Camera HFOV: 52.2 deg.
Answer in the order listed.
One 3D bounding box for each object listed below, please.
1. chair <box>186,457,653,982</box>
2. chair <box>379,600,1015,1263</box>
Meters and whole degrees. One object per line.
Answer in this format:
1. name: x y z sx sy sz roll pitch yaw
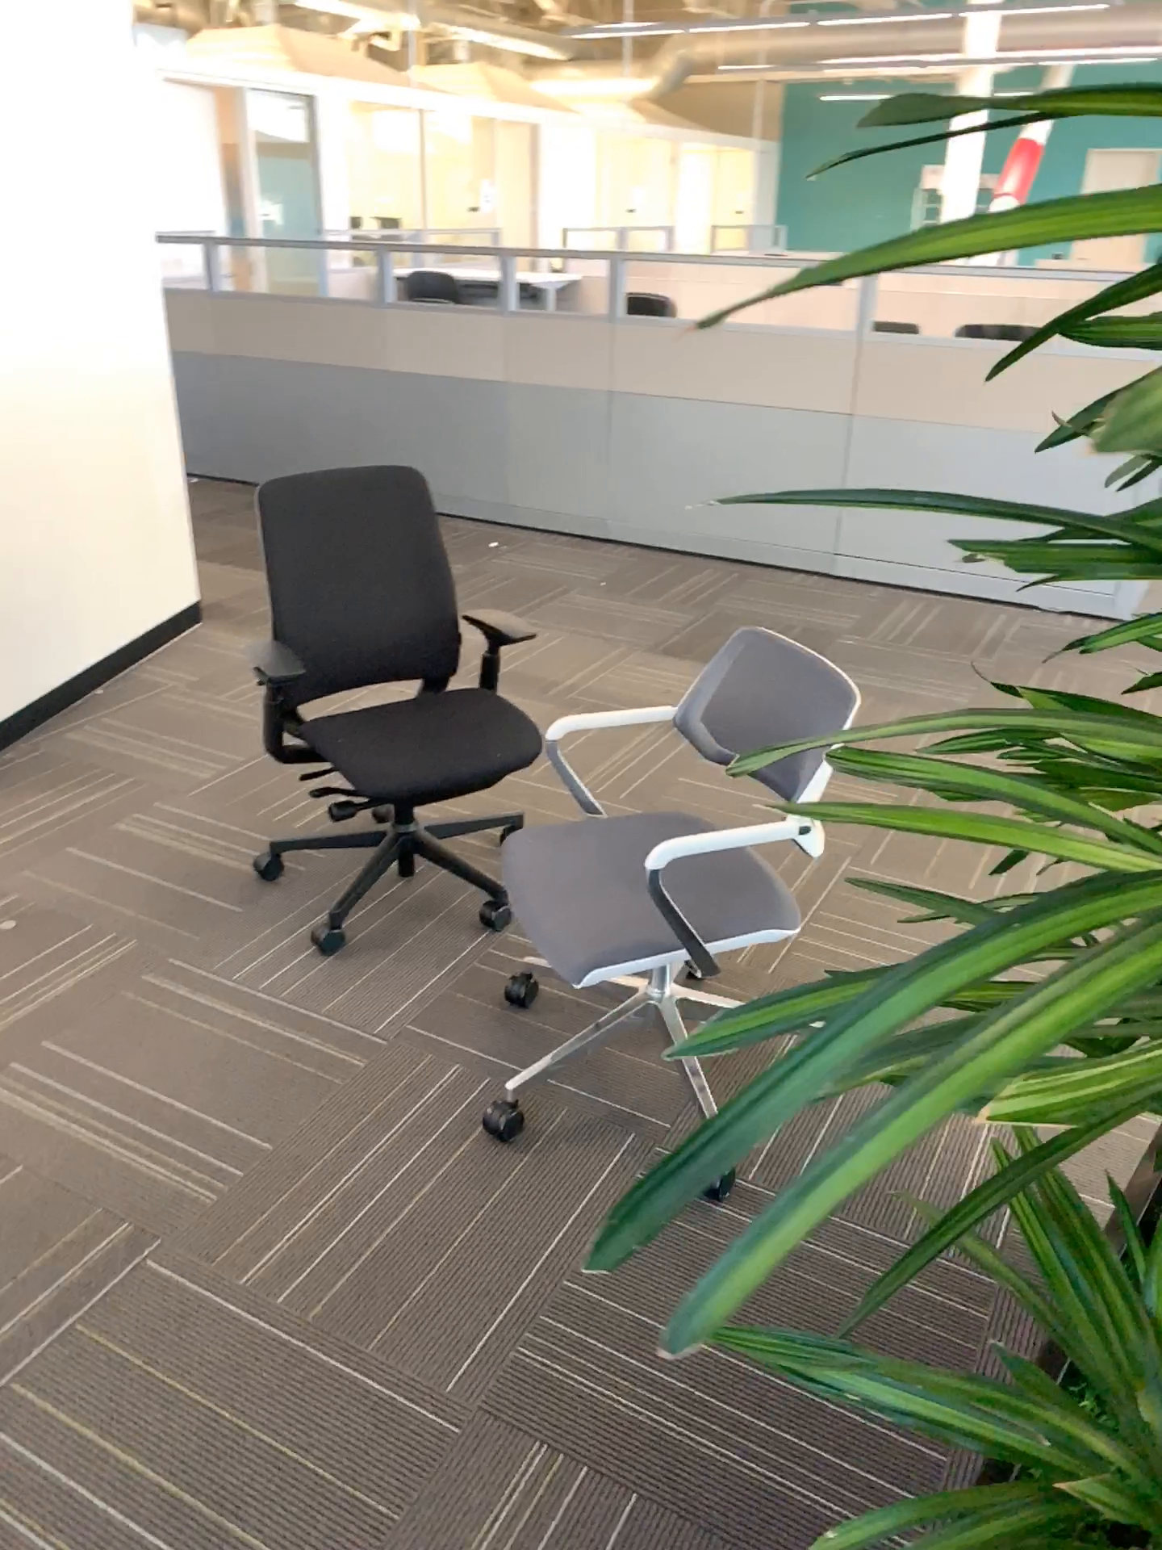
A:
1. chair: -0.404 -0.203 2.816 0.800 0.885 0.855 -10 28 -23
2. chair: 0.140 0.198 2.176 0.790 0.756 0.805 -10 27 -22
